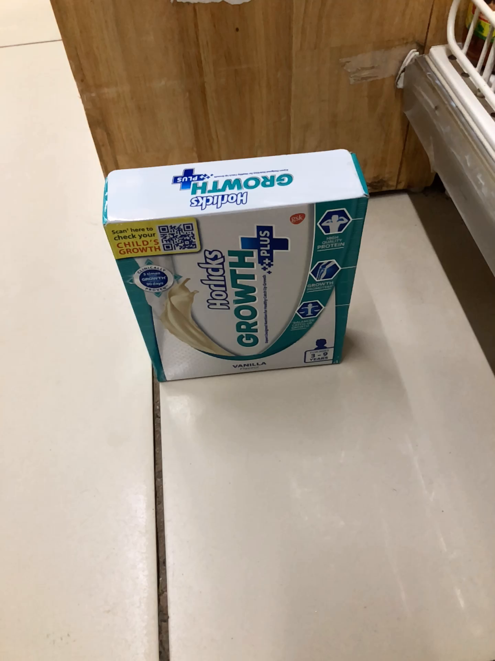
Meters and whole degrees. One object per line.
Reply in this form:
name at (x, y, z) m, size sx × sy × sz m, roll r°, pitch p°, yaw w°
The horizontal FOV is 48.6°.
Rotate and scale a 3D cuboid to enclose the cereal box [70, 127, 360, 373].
cereal box at (-0.016, -0.043, 0.361) m, size 0.150 × 0.159 × 0.050 m, roll -6°, pitch 54°, yaw -2°
